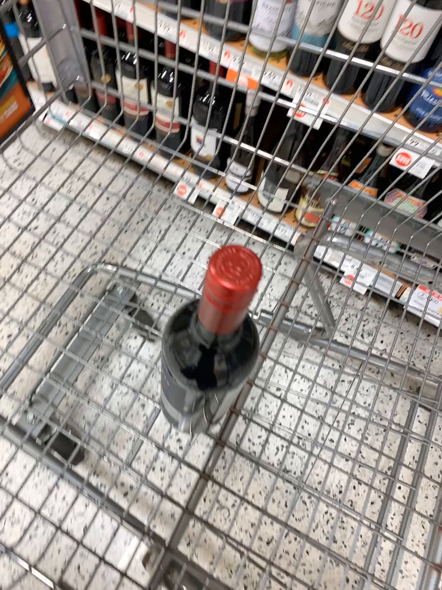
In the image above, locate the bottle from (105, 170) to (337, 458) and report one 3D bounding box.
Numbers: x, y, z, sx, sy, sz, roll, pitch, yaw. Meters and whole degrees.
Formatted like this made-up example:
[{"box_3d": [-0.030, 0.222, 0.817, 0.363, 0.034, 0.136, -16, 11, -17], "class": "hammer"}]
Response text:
[{"box_3d": [-0.008, 0.057, 0.397, 0.100, 0.338, 0.101, 2, 64, -4], "class": "bottle"}]
